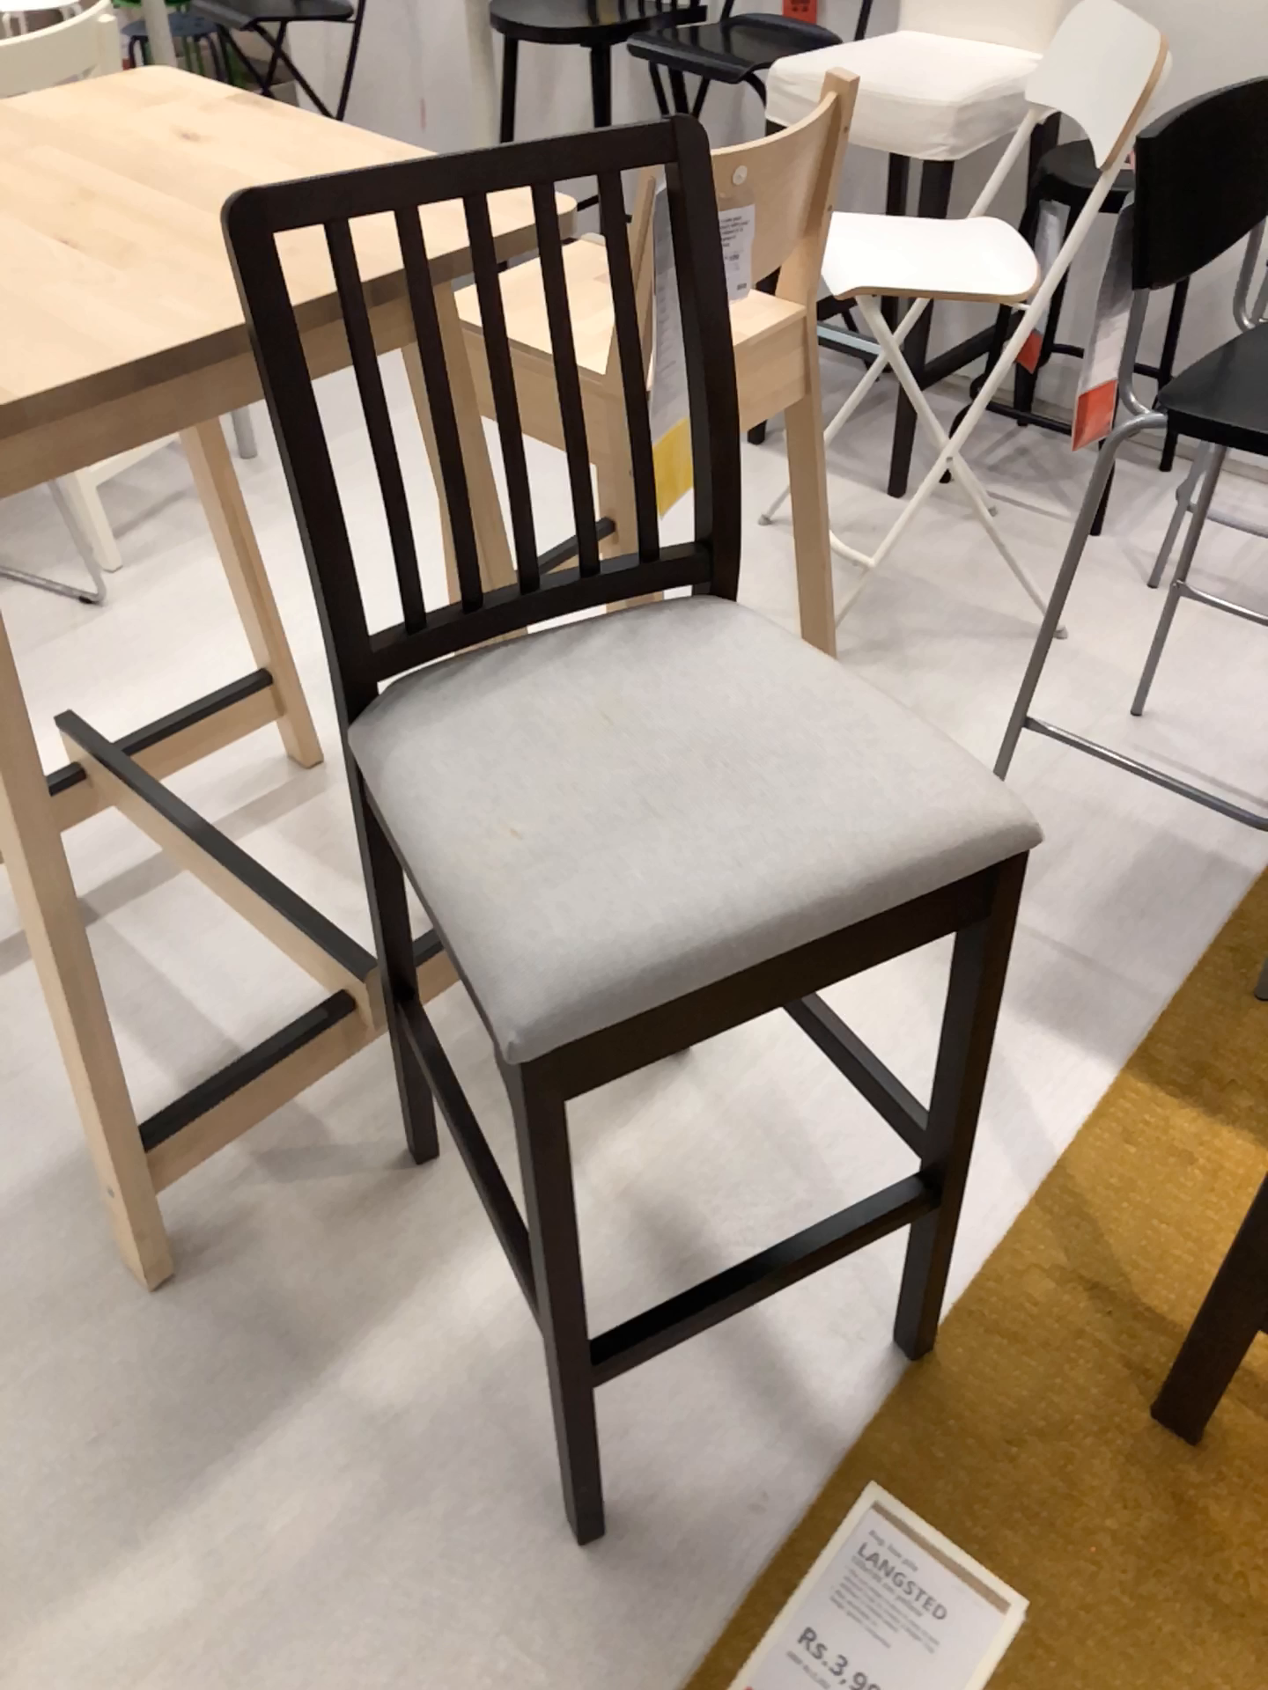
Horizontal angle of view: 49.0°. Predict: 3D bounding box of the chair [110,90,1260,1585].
[{"bbox_3d":[-0.002,0.046,1.210,0.481,1.093,0.563,-21,46,-20],"label":"chair"}]
